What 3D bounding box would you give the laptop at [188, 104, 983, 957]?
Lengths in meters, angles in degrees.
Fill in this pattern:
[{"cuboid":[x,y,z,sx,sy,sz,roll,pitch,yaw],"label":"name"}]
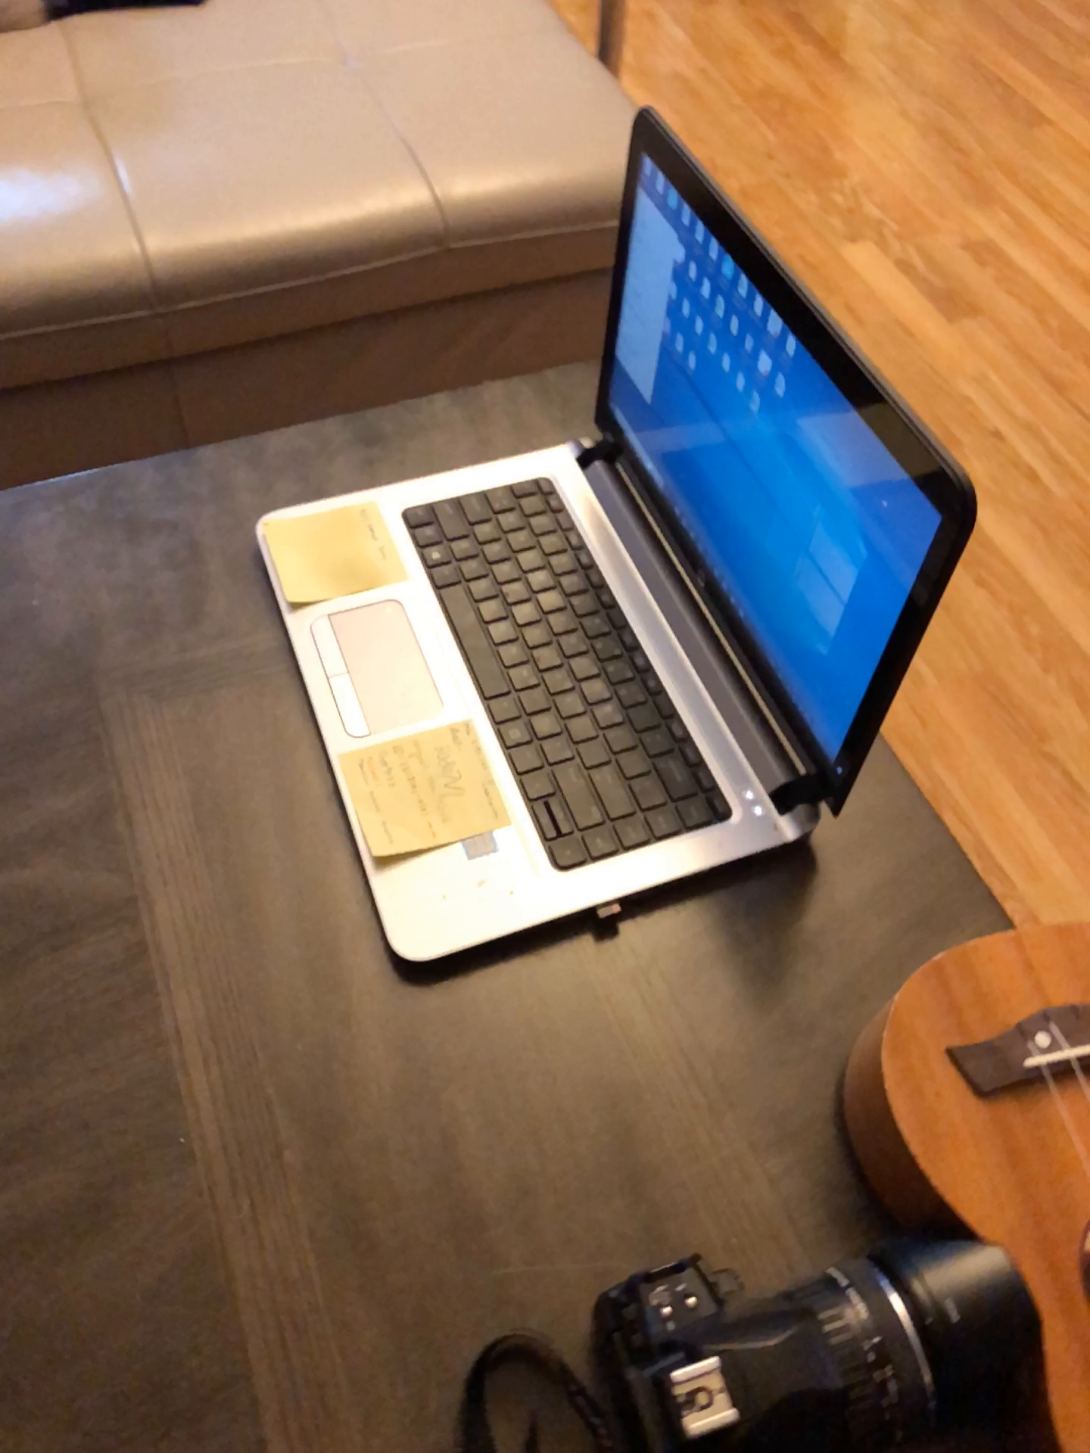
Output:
[{"cuboid":[-0.005,-0.110,0.612,0.246,0.217,0.319,-17,56,-13],"label":"laptop"}]
